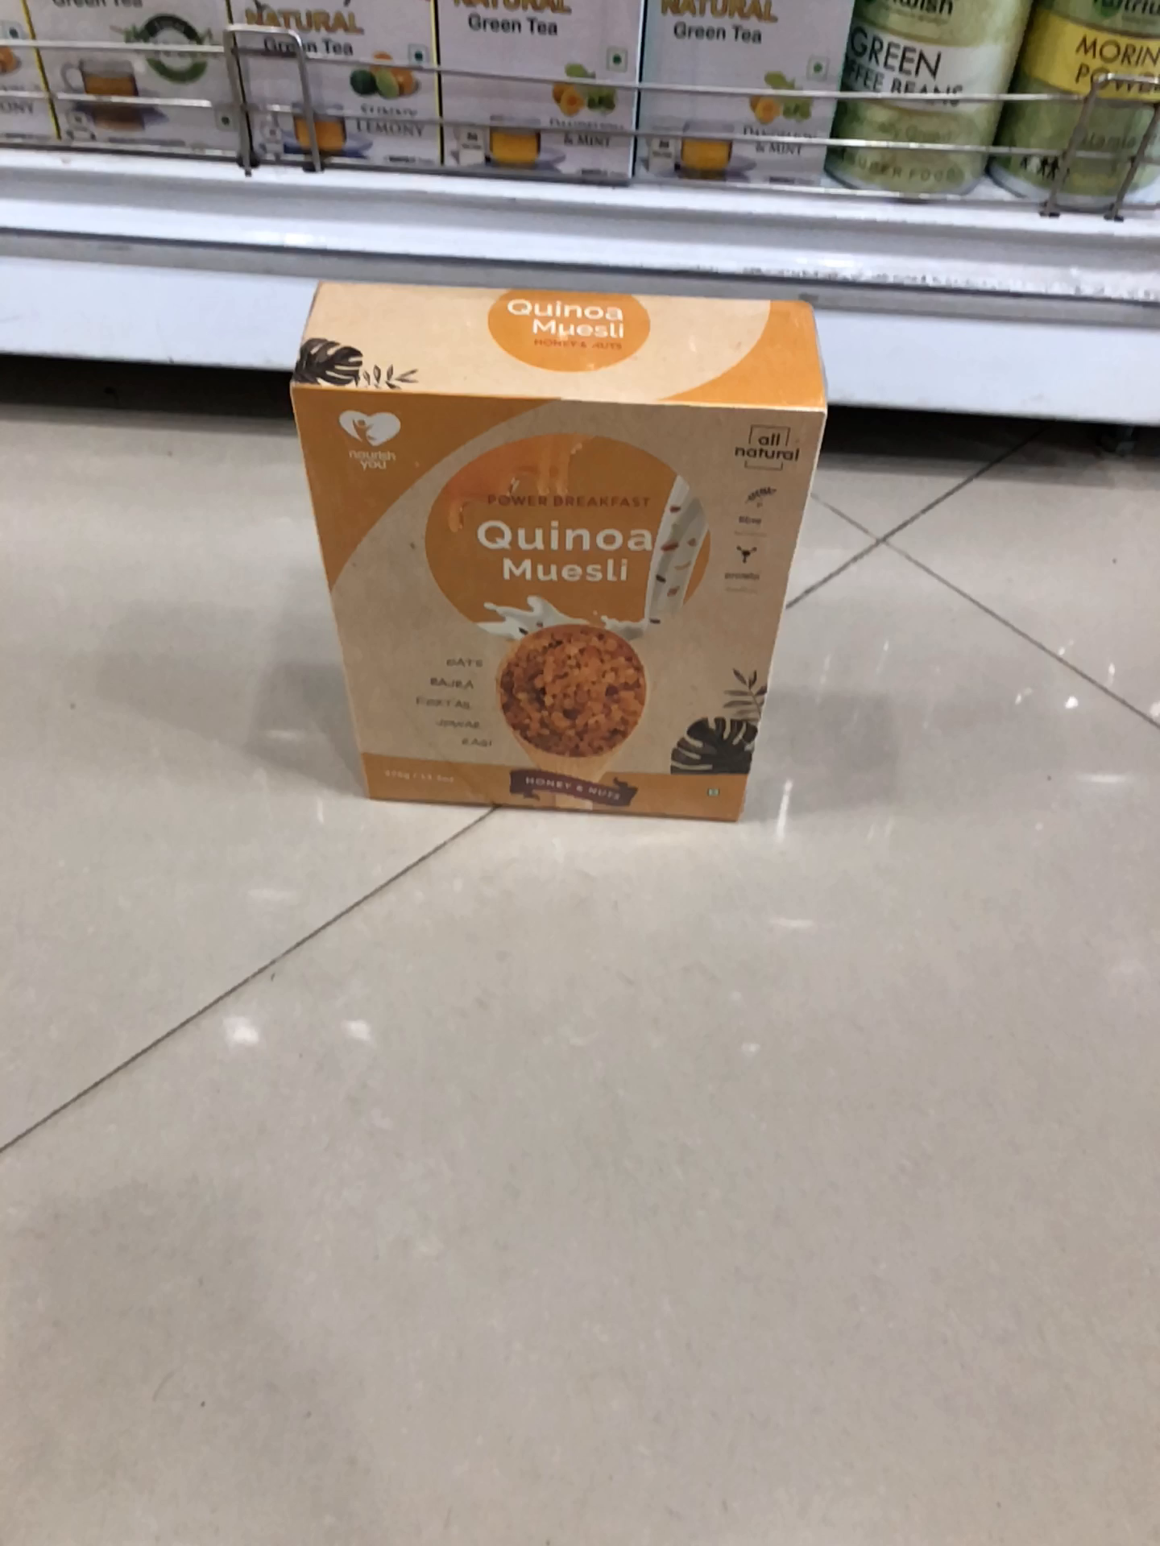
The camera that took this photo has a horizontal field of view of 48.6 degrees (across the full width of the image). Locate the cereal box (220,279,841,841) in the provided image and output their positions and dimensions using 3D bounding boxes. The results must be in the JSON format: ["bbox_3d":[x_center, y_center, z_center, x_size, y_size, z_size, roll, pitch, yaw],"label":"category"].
[{"bbox_3d":[-0.014,-0.061,0.448,0.170,0.199,0.060,3,53,1],"label":"cereal box"}]
